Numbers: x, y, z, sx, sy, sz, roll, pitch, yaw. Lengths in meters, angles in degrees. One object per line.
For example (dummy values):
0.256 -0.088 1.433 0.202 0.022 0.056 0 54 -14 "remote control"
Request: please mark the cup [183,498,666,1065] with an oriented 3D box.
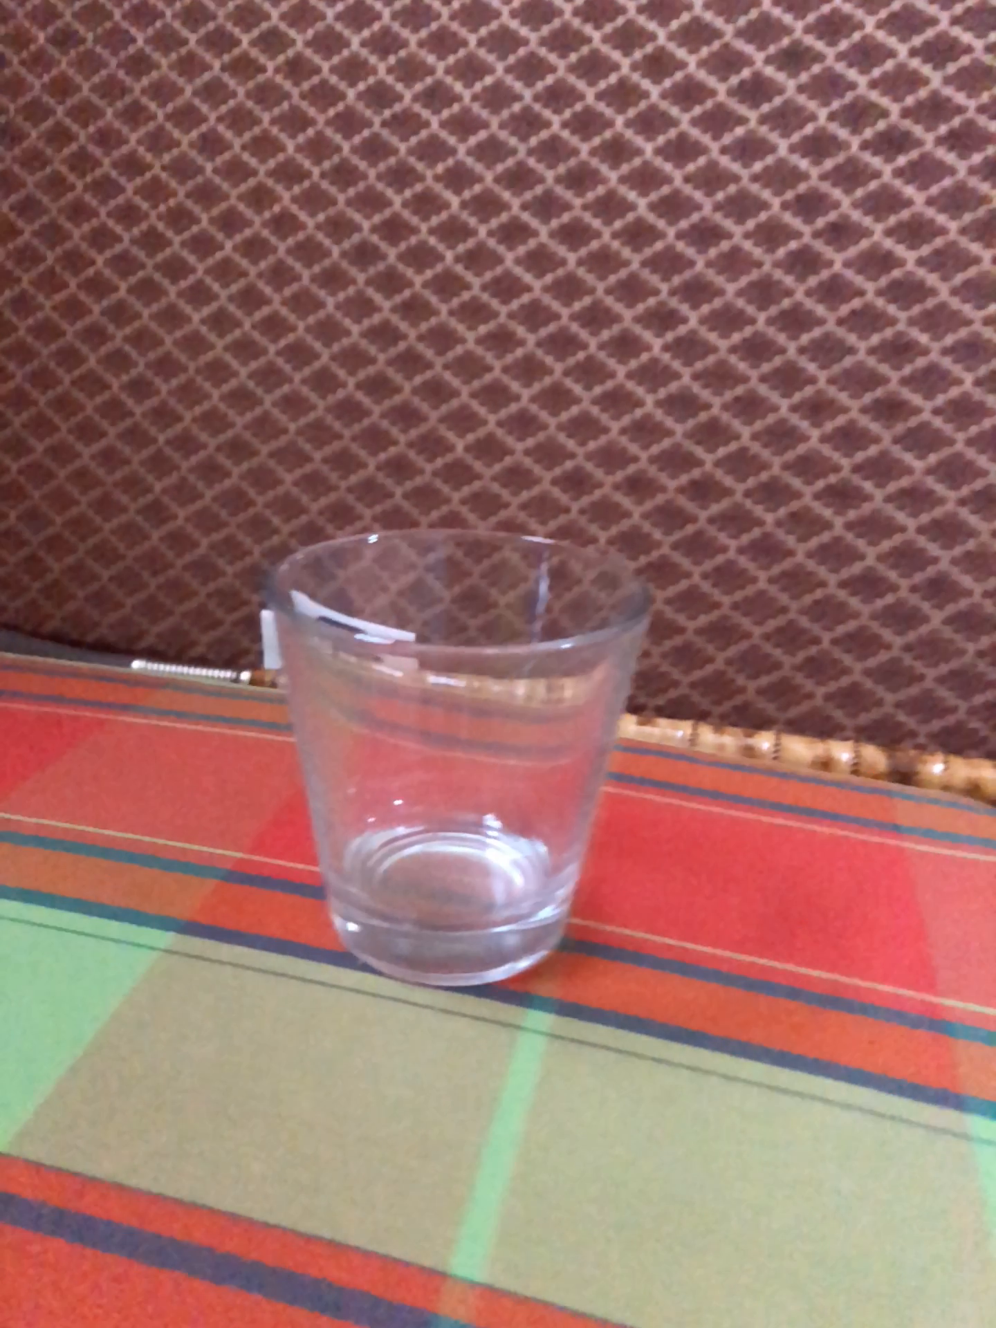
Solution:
-0.012 0.019 0.251 0.080 0.090 0.080 2 22 -1 "cup"
